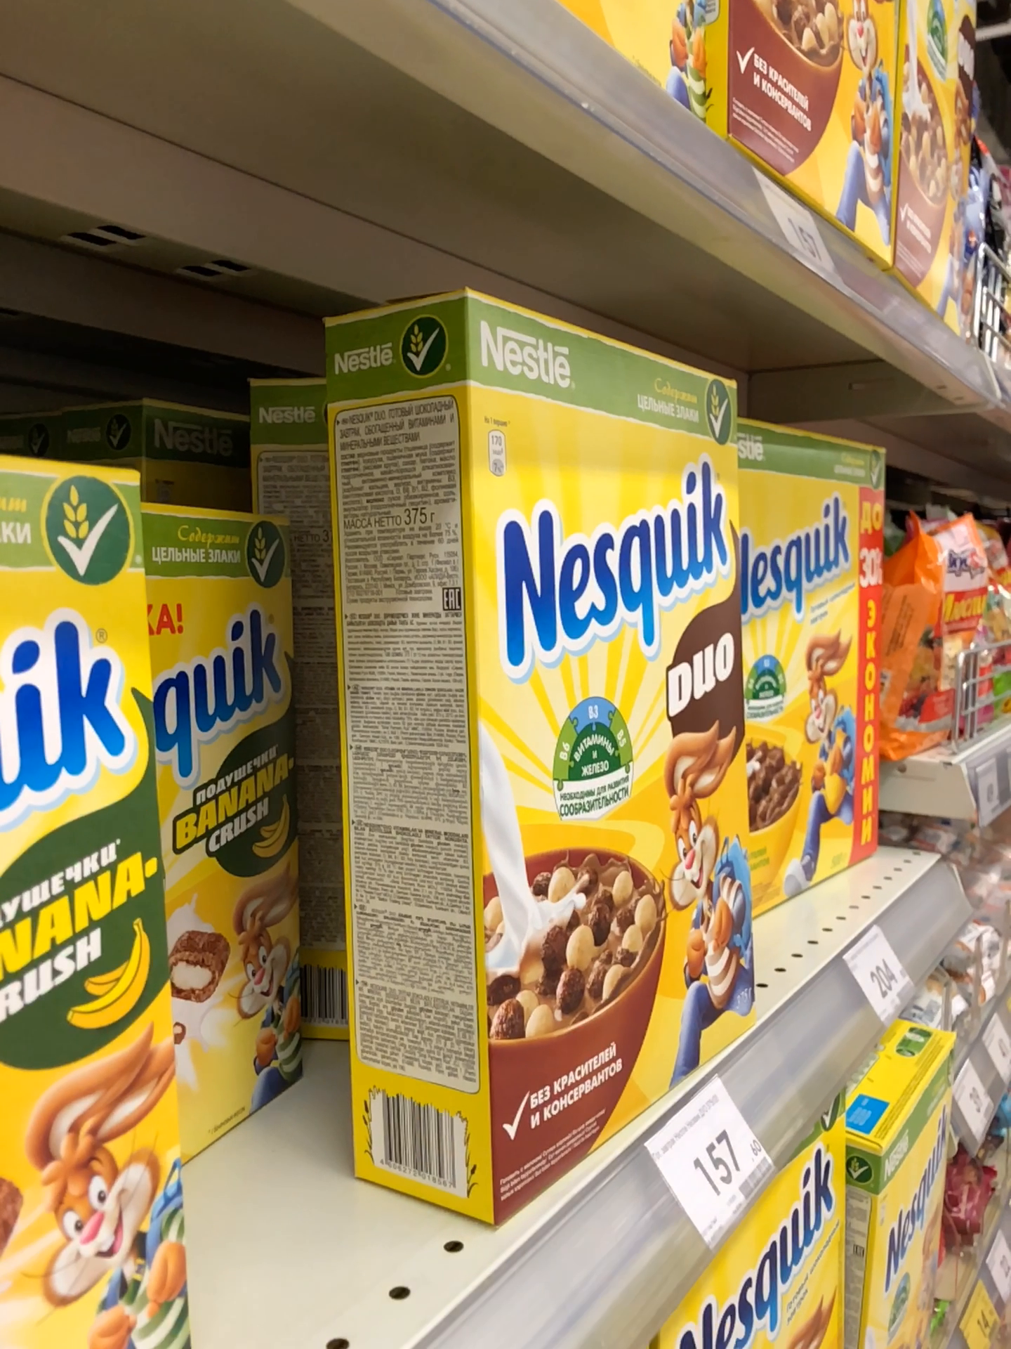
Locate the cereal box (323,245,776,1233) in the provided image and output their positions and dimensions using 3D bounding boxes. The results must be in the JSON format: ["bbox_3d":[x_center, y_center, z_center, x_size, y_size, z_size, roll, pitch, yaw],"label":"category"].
[{"bbox_3d":[0.030,0.014,0.414,0.060,0.280,0.200,-1,2,36],"label":"cereal box"}]
